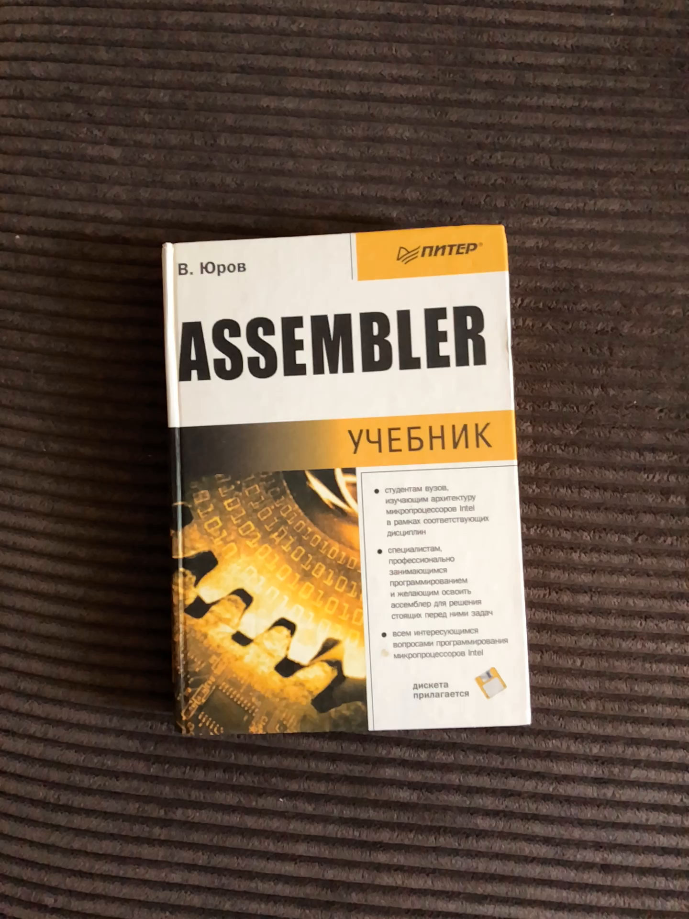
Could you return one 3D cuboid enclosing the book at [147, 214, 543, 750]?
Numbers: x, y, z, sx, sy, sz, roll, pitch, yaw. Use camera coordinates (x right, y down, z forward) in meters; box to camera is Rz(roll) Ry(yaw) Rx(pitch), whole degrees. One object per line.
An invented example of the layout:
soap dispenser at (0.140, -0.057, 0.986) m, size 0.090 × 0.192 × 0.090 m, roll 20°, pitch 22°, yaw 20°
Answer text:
book at (-0.002, 0.010, 0.376) m, size 0.170 × 0.058 × 0.236 m, roll -3°, pitch 86°, yaw 1°
